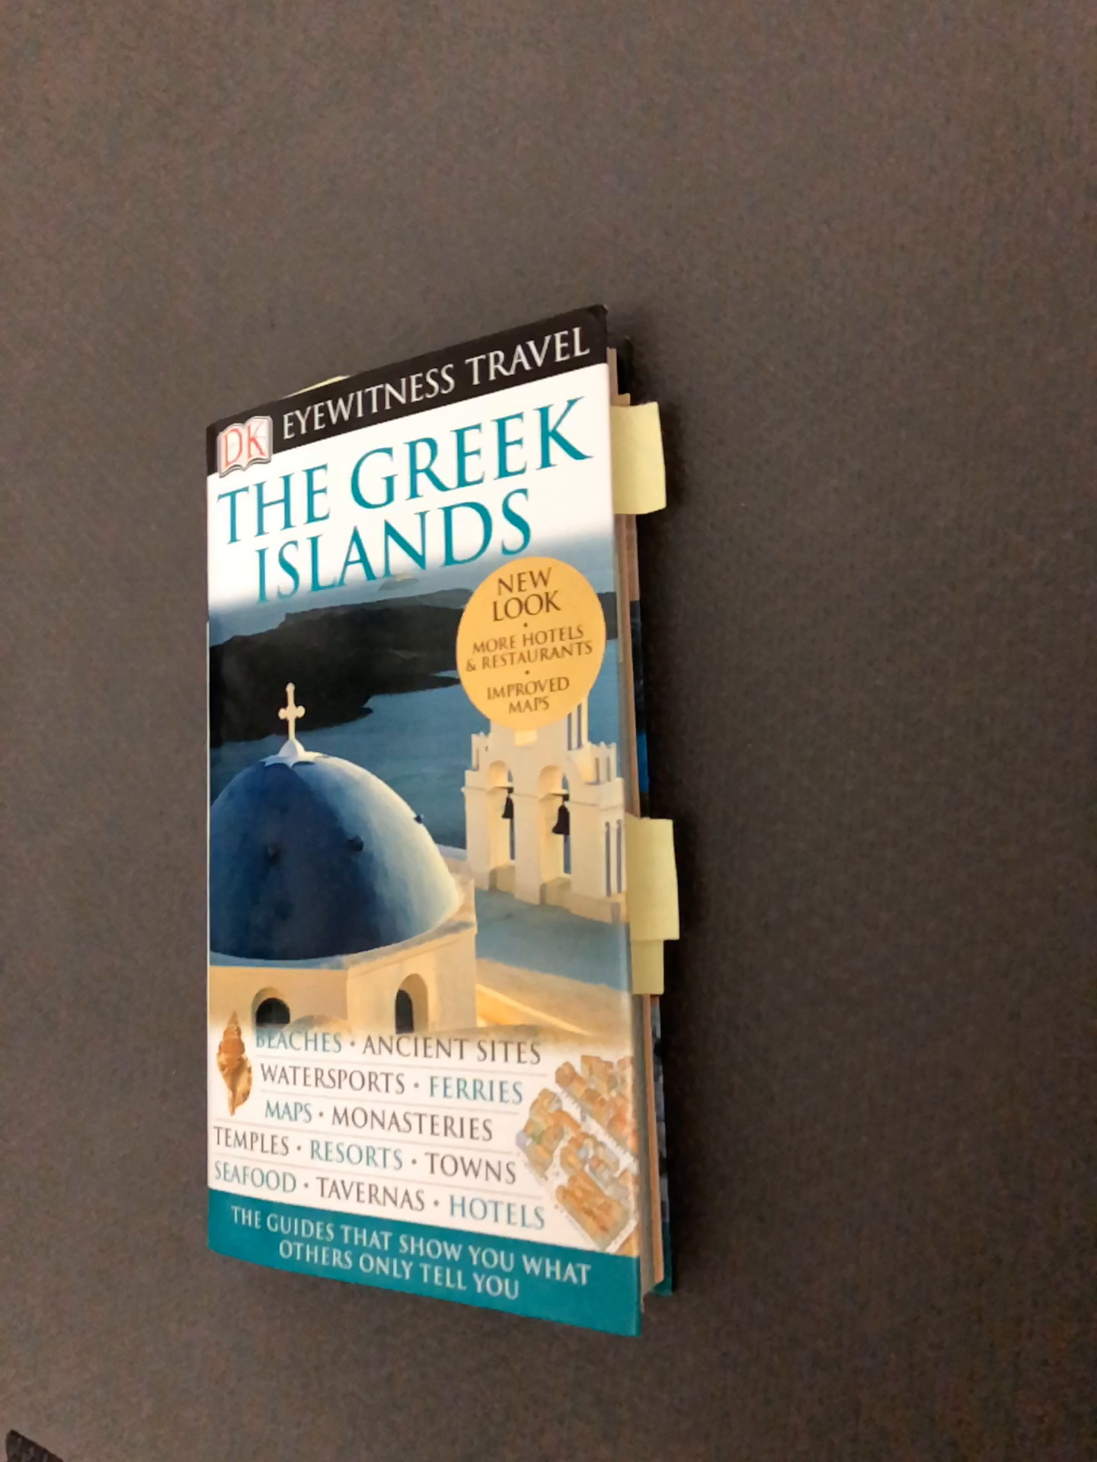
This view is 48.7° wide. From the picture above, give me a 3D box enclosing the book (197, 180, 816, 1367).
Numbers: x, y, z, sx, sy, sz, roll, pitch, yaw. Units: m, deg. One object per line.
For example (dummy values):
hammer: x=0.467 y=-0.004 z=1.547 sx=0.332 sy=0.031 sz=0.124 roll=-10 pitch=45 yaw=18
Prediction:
book: x=-0.021 y=0.009 z=0.302 sx=0.160 sy=0.030 sz=0.240 roll=-6 pitch=82 yaw=34
